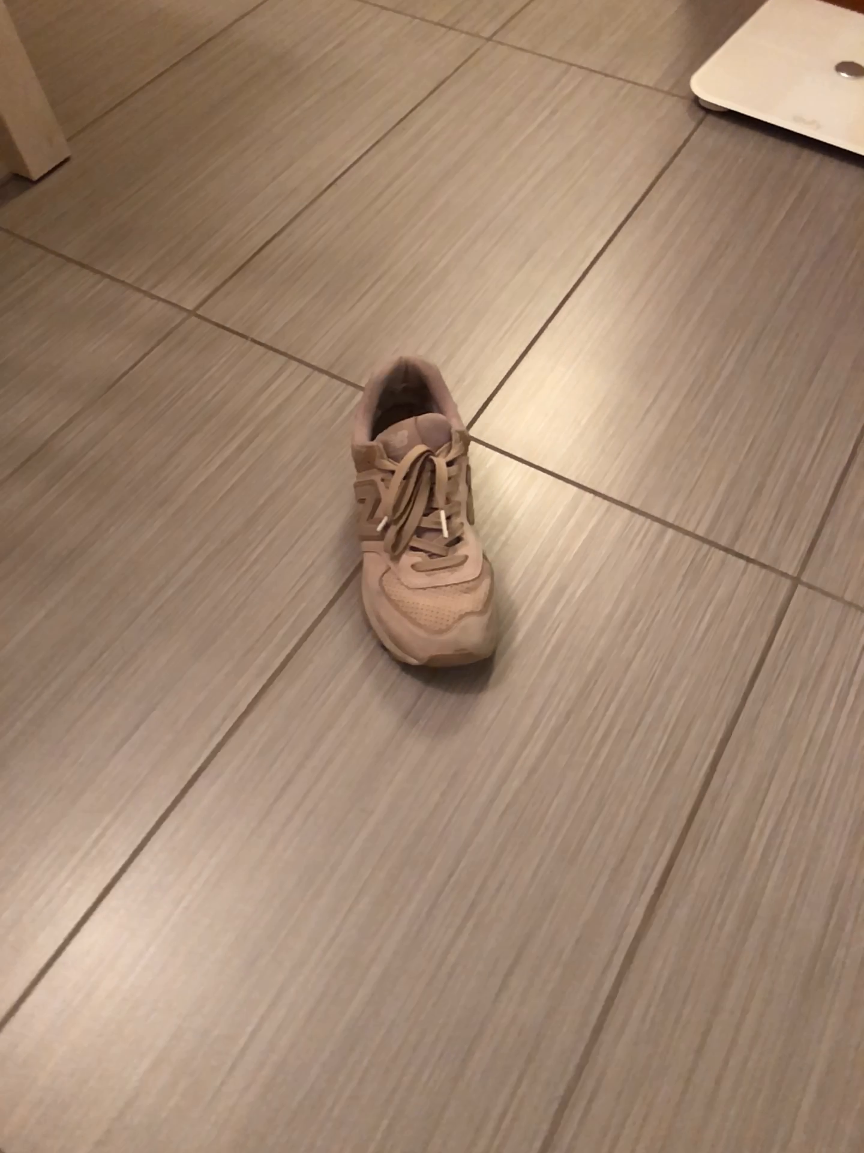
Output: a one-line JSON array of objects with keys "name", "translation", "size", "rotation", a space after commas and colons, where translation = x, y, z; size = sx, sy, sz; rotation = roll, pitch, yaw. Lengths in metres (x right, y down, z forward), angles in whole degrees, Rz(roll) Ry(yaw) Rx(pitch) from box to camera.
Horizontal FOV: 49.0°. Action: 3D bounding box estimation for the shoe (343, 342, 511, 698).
[{"name": "shoe", "translation": [-0.010, -0.052, 0.735], "size": [0.100, 0.090, 0.271], "rotation": [-4, 55, -3]}]
